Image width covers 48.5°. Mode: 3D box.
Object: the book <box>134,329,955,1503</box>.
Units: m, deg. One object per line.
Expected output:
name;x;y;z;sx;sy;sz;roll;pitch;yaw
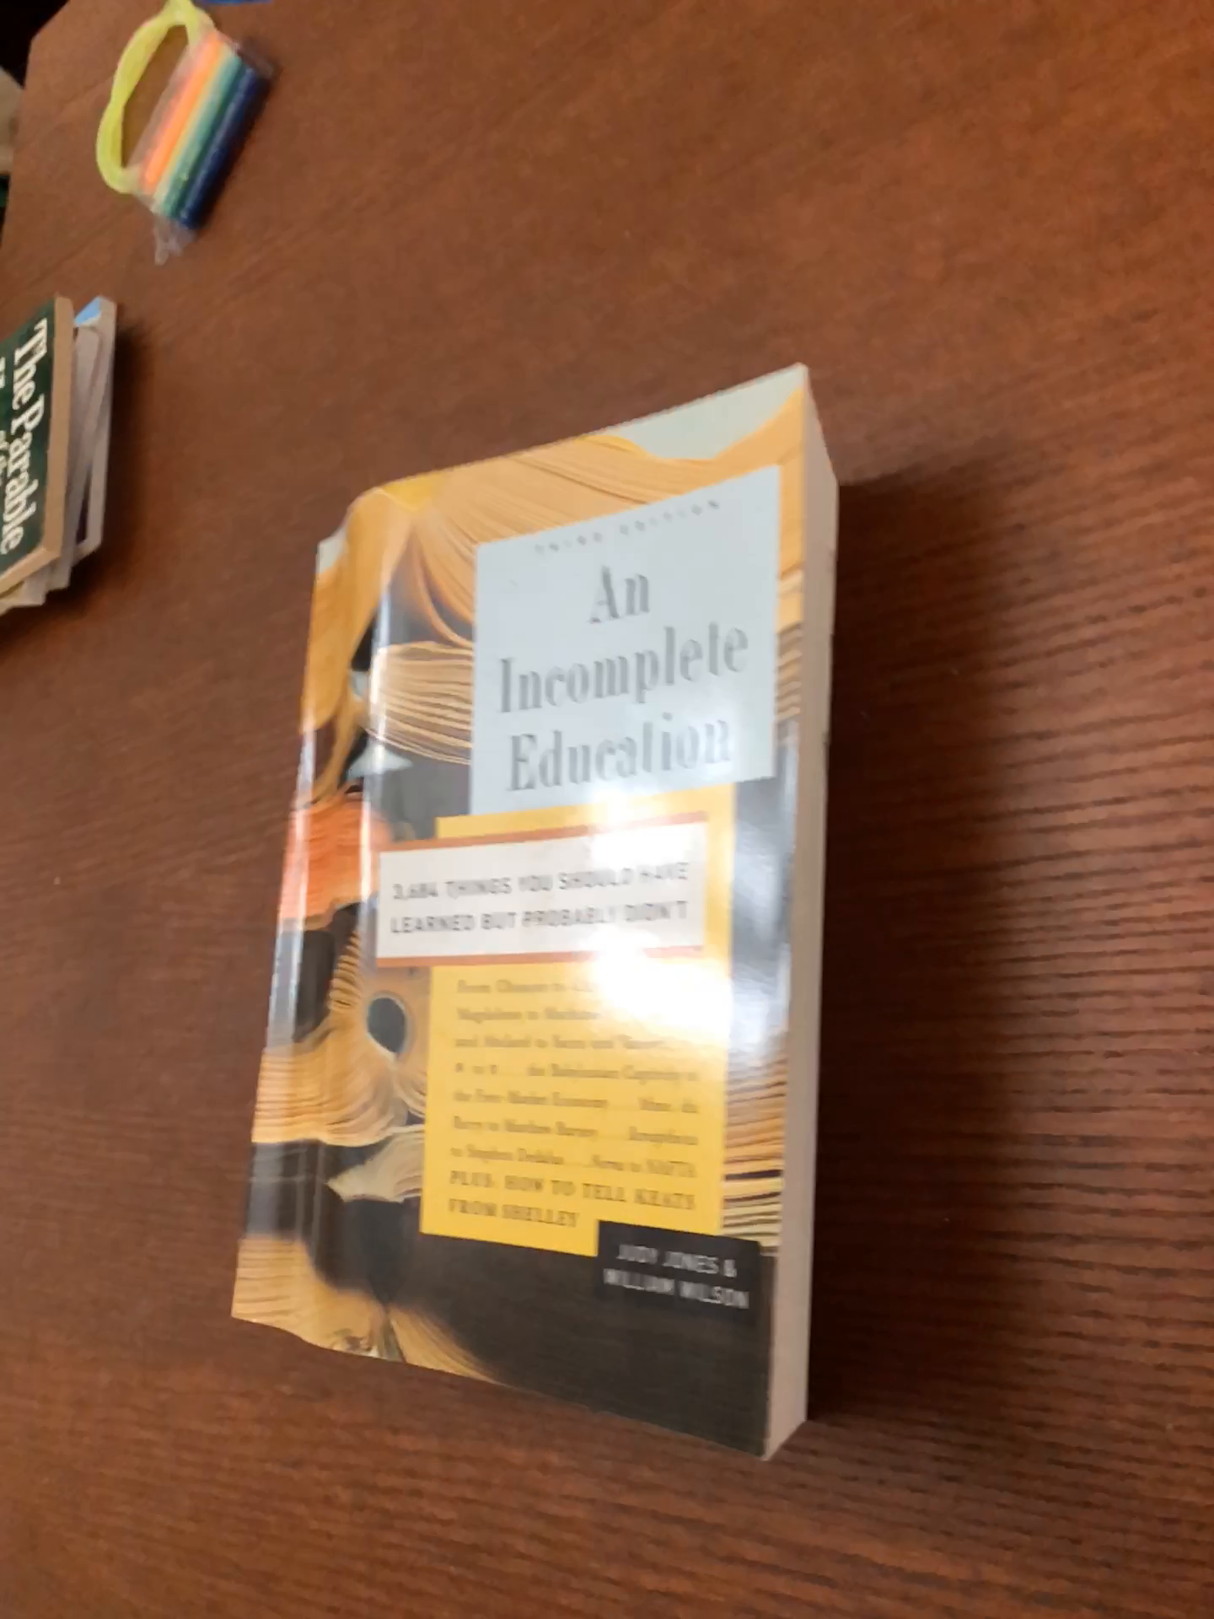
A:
book;-0.021;0.026;0.366;0.211;0.060;0.250;-6;75;33
